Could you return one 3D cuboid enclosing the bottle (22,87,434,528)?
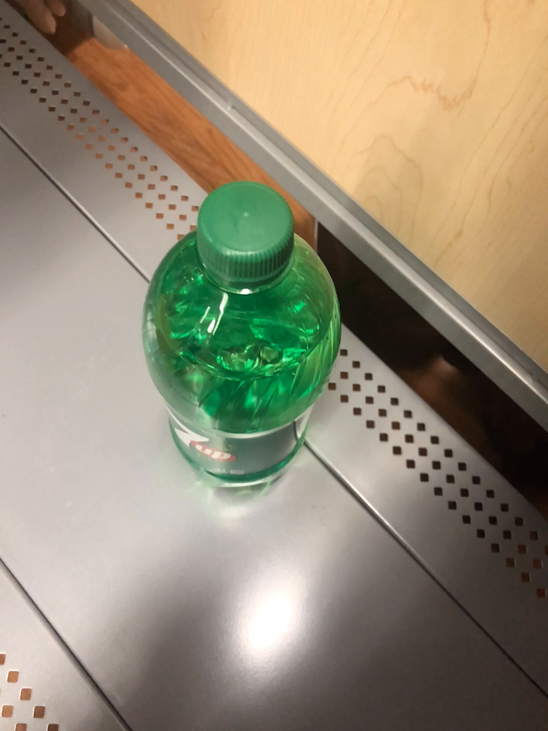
[{"bbox_3d":[-0.020,0.004,0.301,0.100,0.239,0.080,33,70,9],"label":"bottle"}]
